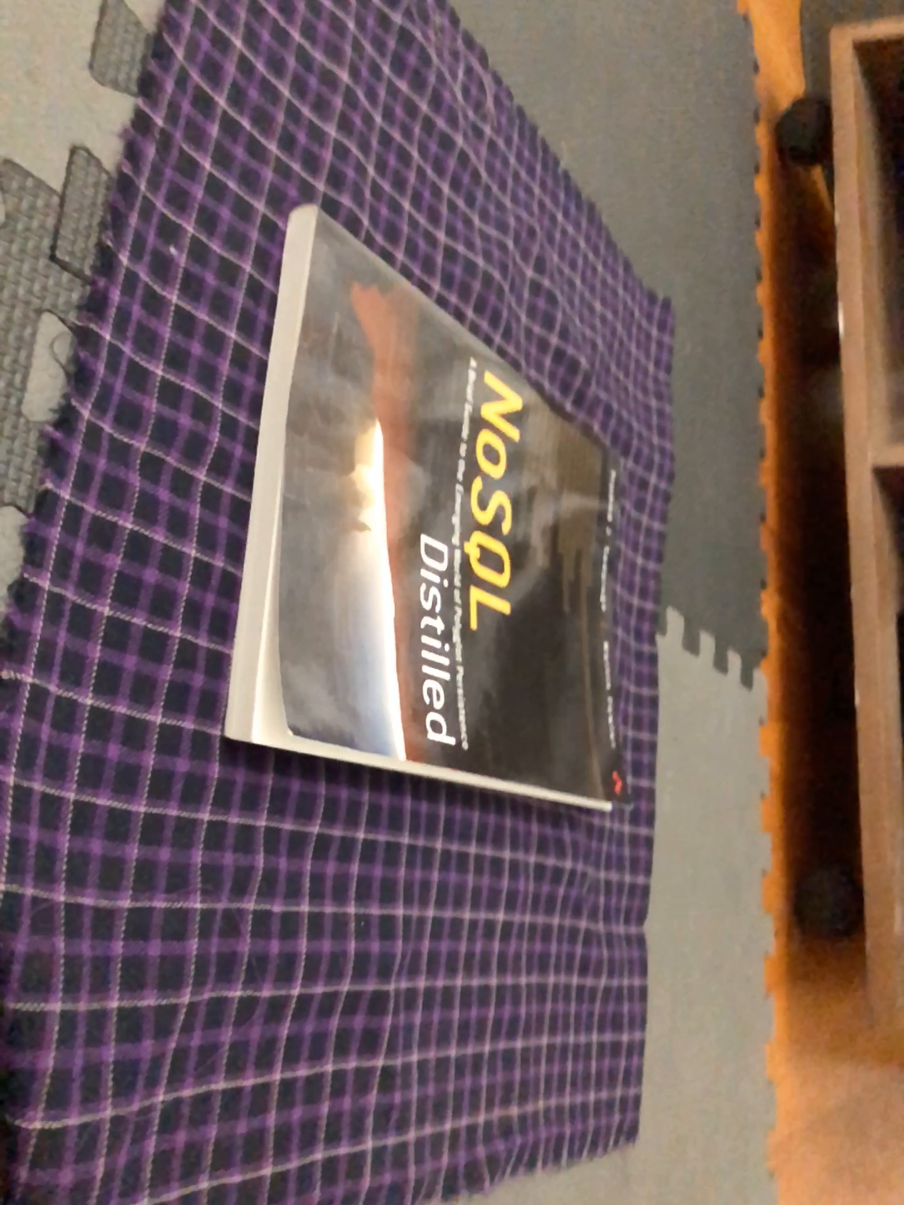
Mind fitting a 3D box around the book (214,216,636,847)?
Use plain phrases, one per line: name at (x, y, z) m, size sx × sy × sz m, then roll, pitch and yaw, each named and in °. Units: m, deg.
book at (0.014, -0.004, 0.411) m, size 0.251 × 0.020 × 0.190 m, roll 24°, pitch 65°, yaw -53°
